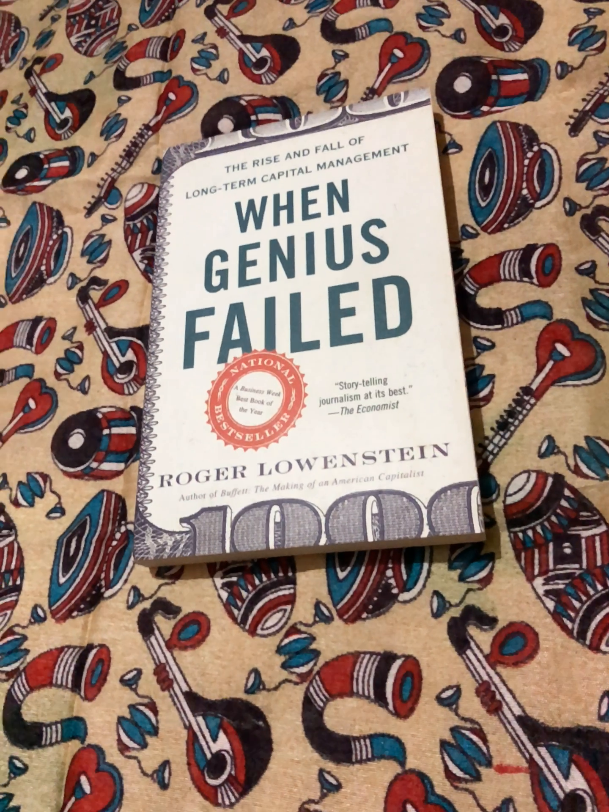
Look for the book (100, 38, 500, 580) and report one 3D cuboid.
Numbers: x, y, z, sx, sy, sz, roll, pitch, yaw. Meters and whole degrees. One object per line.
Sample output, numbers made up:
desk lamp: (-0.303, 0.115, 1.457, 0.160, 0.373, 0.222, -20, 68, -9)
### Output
book: (-0.006, -0.046, 0.286, 0.140, 0.030, 0.220, -7, 67, 13)
